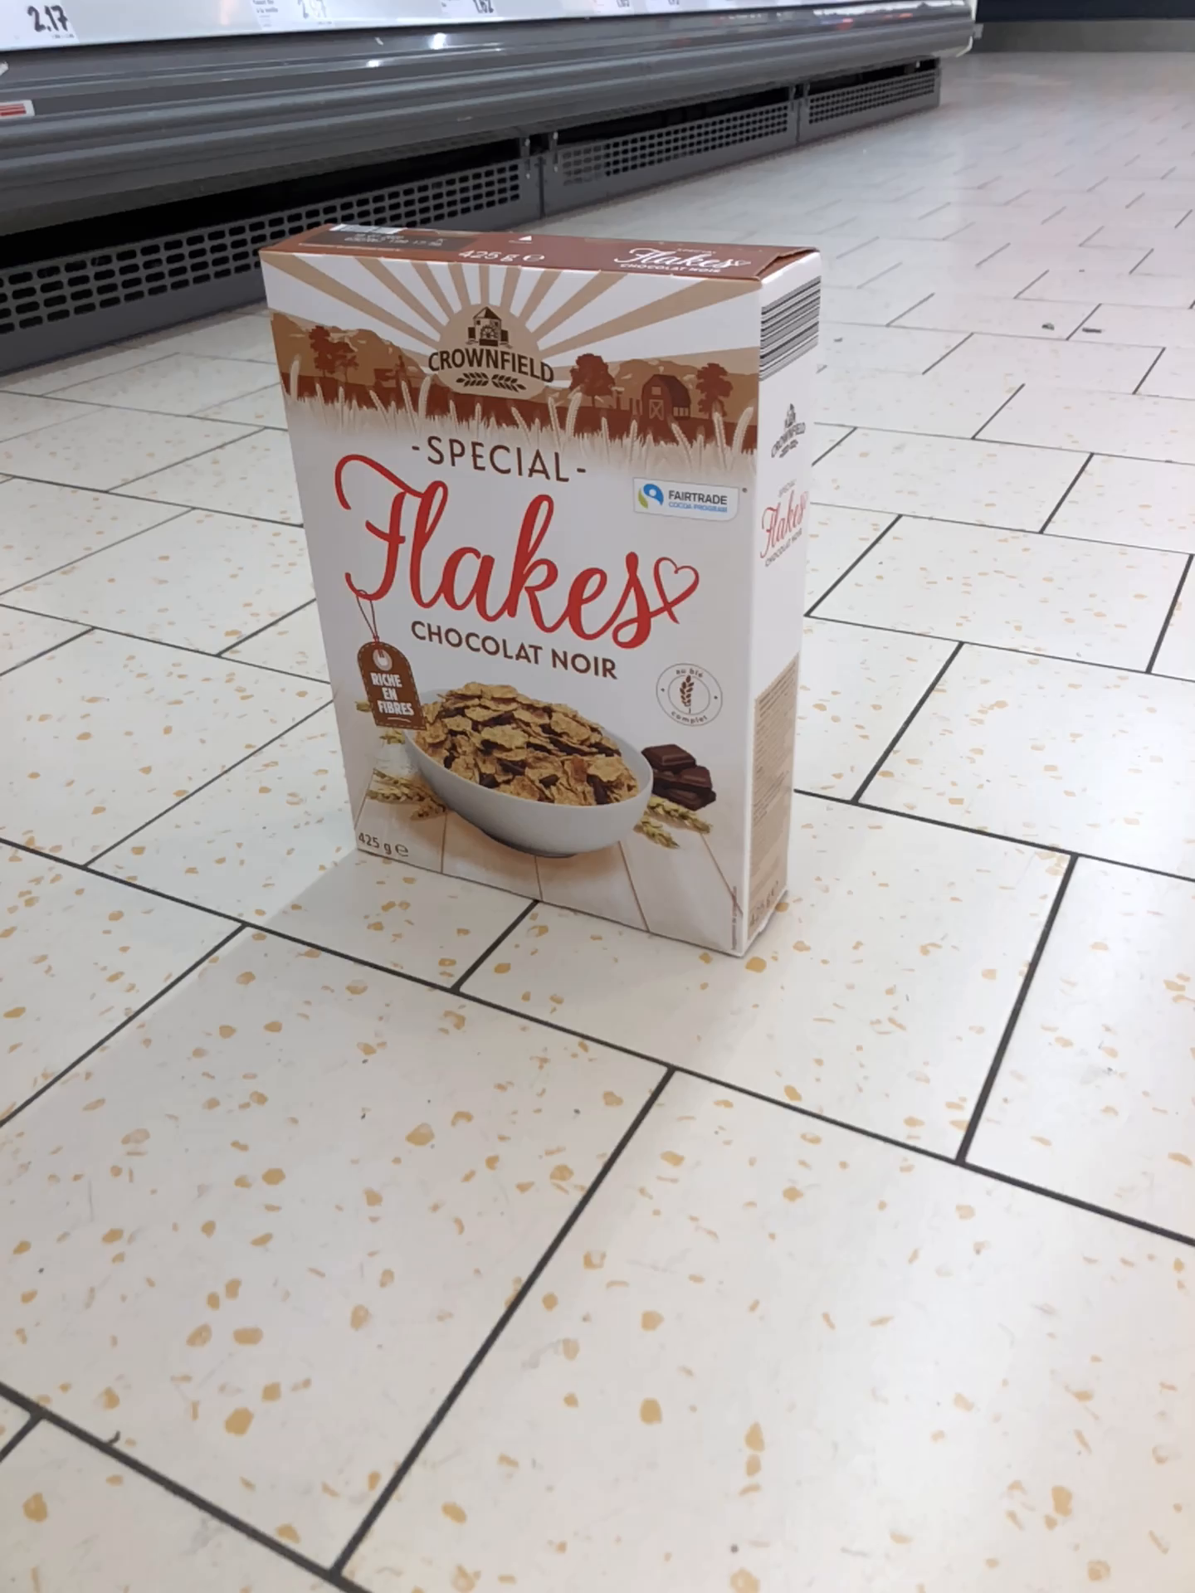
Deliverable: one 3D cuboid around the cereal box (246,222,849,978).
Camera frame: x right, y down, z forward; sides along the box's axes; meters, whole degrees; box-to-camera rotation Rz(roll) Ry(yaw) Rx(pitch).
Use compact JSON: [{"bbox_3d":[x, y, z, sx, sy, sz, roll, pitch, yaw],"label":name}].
[{"bbox_3d":[-0.017,-0.079,0.516,0.200,0.259,0.070,14,33,25],"label":"cereal box"}]
